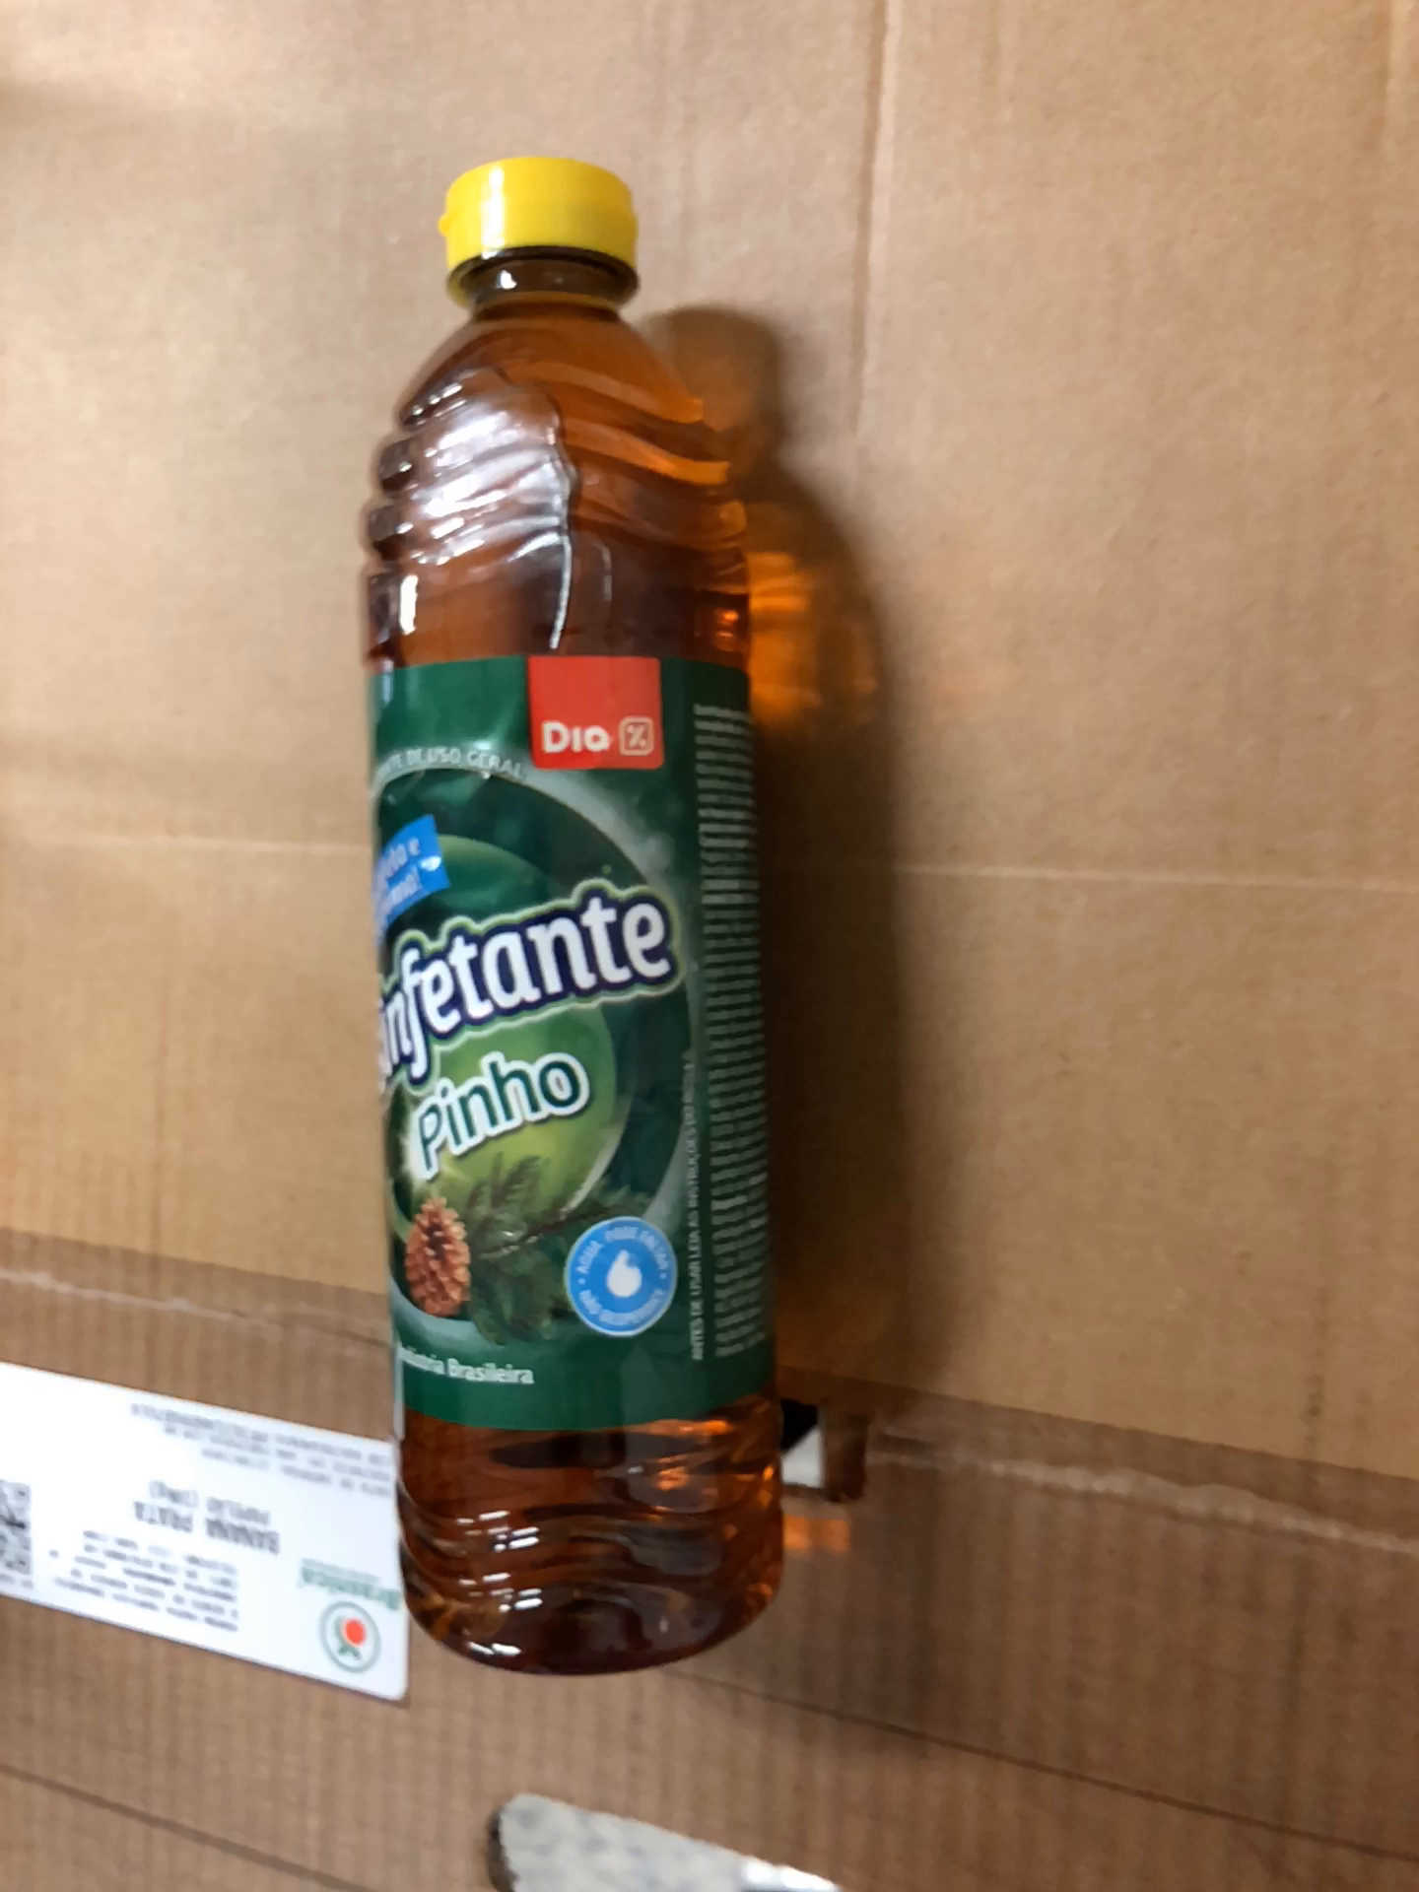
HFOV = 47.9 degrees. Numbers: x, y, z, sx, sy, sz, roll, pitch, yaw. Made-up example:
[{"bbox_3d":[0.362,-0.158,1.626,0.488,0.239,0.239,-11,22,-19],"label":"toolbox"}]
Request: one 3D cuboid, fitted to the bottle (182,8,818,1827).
[{"bbox_3d":[-0.030,-0.004,0.239,0.060,0.070,0.220,-2,88,36],"label":"bottle"}]
